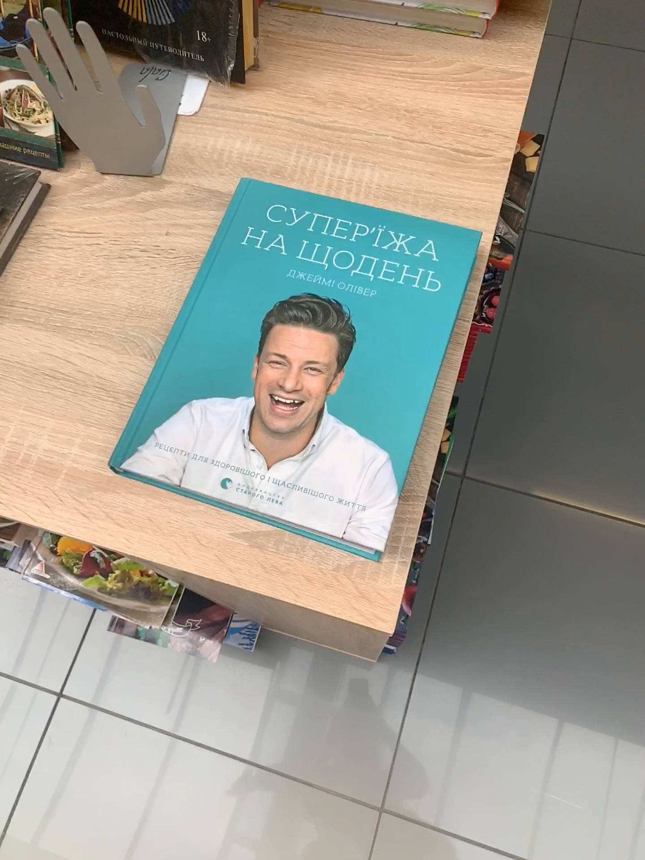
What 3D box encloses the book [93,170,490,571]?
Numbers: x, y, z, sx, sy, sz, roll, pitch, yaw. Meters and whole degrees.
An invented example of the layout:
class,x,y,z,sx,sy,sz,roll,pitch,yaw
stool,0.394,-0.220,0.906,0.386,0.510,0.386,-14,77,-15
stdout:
class,x,y,z,sx,sy,sz,roll,pitch,yaw
book,-0.014,-0.056,0.469,0.200,0.030,0.255,17,71,11
